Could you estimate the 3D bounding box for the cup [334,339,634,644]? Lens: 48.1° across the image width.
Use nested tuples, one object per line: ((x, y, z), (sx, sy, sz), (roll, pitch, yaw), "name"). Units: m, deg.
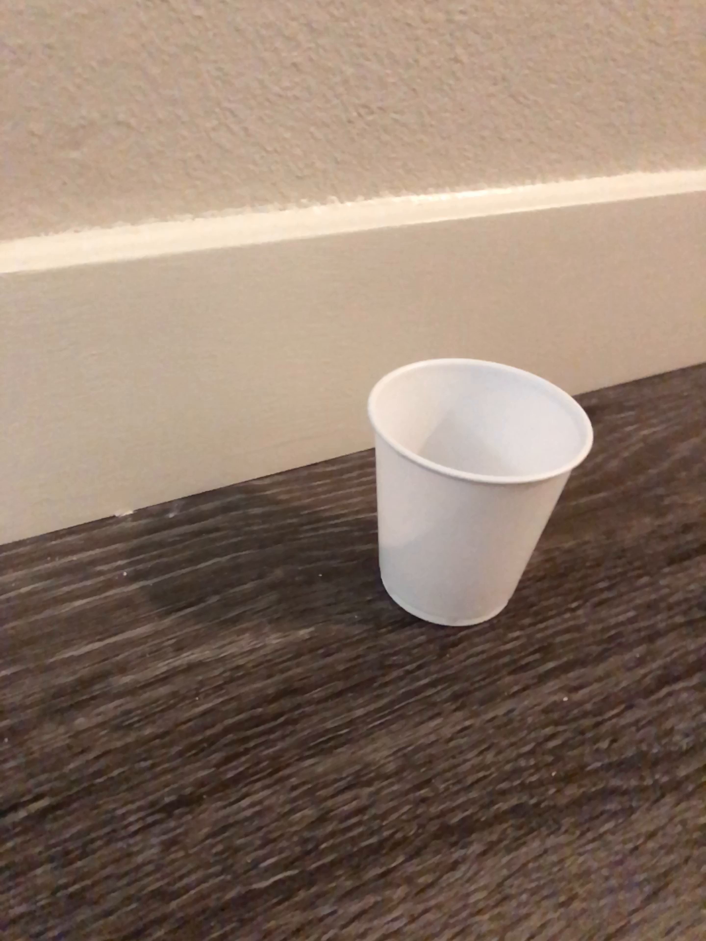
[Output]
((0.030, 0.004, 0.223), (0.060, 0.060, 0.060), (4, 36, -3), "cup")
